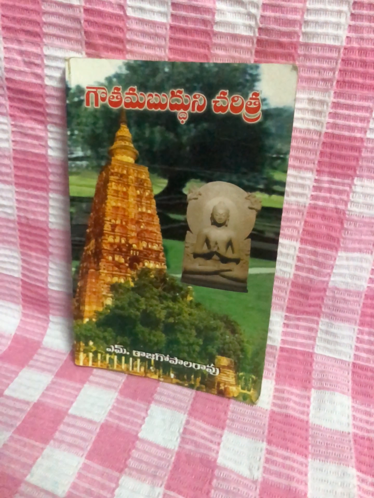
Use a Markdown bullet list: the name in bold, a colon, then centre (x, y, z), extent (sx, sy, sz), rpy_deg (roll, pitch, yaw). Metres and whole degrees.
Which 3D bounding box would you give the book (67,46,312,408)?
- **book**: centre (-0.008, -0.013, 0.271), extent (0.140, 0.209, 0.030), rpy_deg (9, 16, 14)
